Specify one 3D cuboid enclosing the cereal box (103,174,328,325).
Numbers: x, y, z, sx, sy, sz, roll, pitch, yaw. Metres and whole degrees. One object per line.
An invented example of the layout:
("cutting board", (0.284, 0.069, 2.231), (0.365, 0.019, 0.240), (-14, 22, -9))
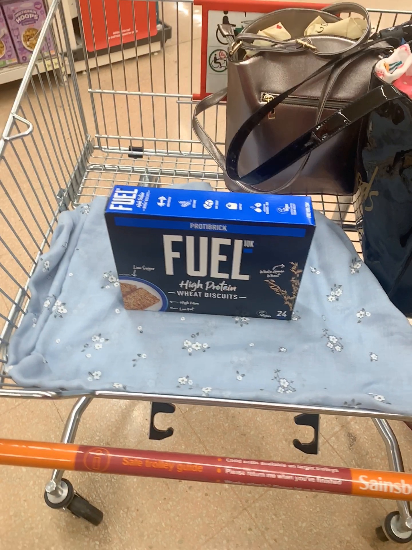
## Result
("cereal box", (0.008, -0.023, 0.565), (0.250, 0.208, 0.061), (4, 51, 1))
